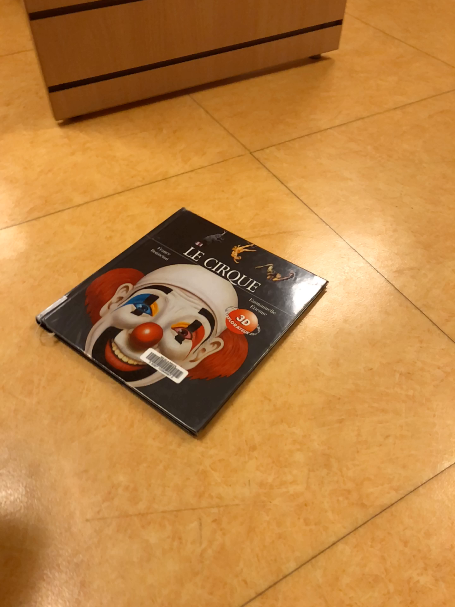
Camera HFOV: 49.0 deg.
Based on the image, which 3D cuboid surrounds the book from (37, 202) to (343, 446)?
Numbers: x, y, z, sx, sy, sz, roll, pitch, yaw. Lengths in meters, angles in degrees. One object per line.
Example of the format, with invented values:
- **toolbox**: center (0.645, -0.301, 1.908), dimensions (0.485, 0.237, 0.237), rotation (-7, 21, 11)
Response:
- **book**: center (-0.032, -0.004, 0.517), dimensions (0.214, 0.012, 0.234), rotation (30, 54, 23)
